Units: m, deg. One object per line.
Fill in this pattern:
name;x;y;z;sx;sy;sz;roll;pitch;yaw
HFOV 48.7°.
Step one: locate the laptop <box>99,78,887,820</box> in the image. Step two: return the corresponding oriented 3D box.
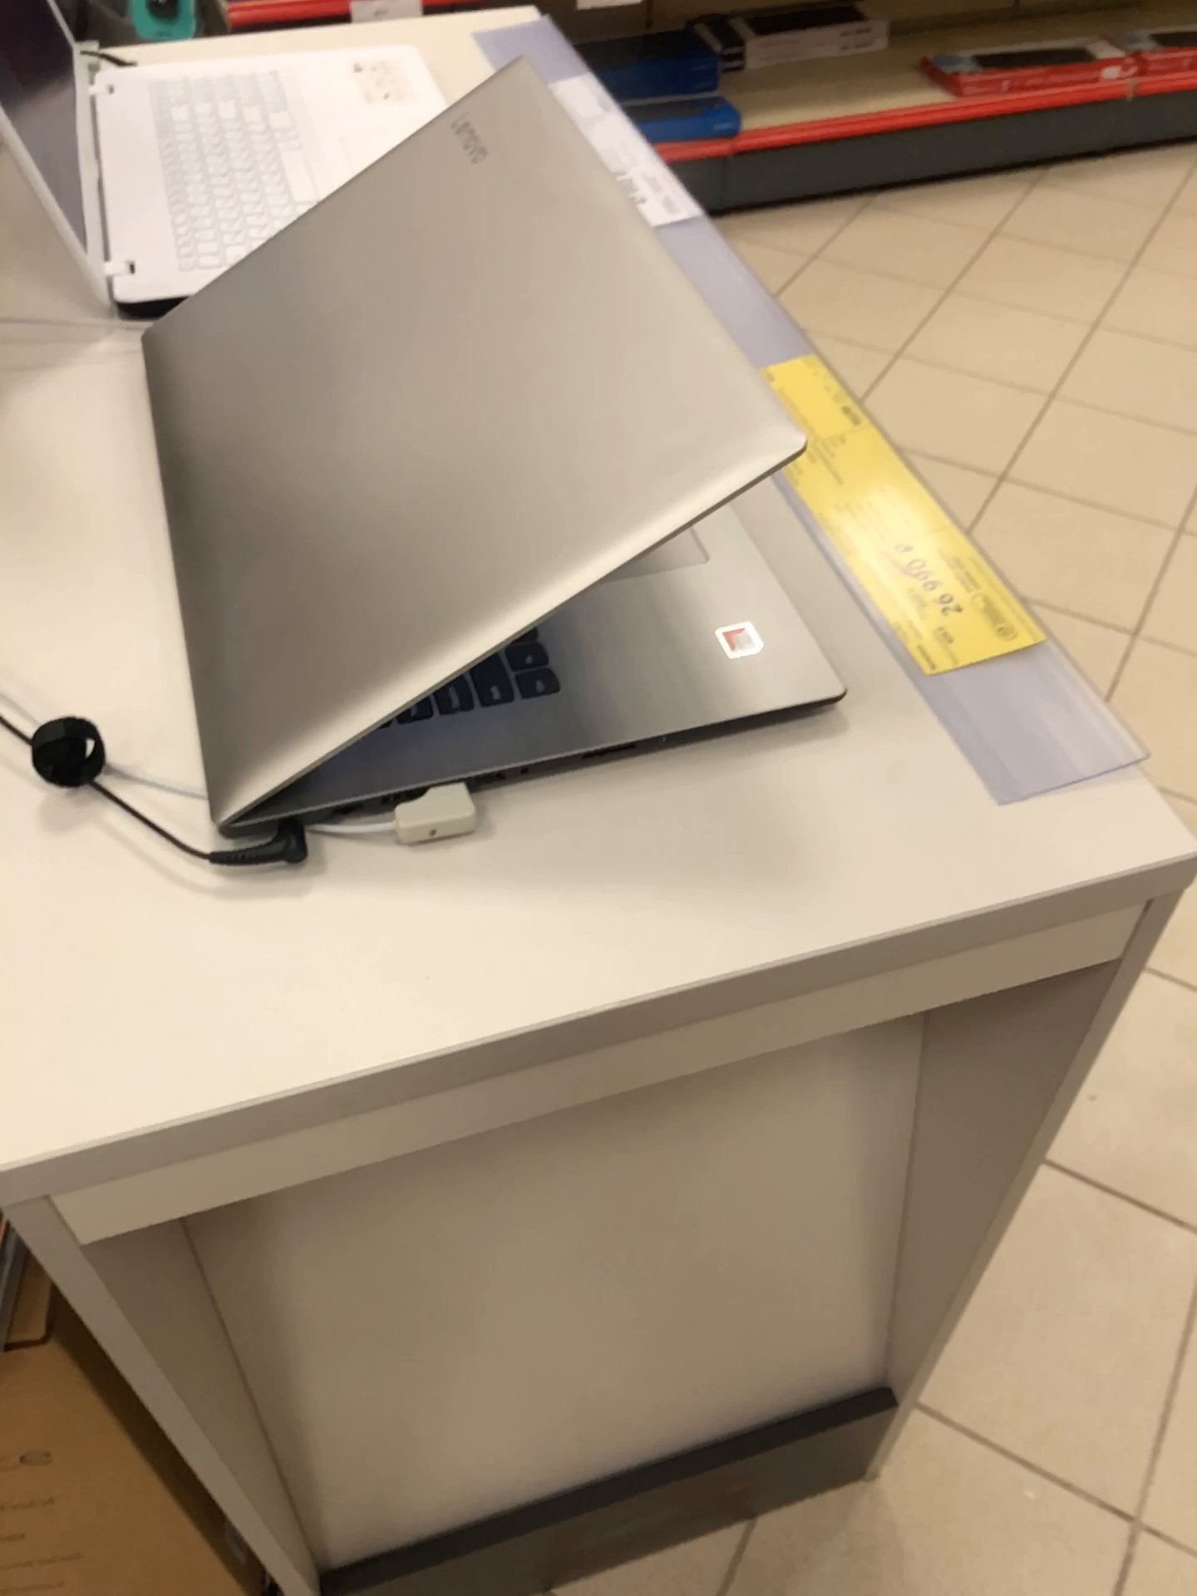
laptop;-0.078;-0.206;0.658;0.276;0.129;0.399;-13;48;-12
